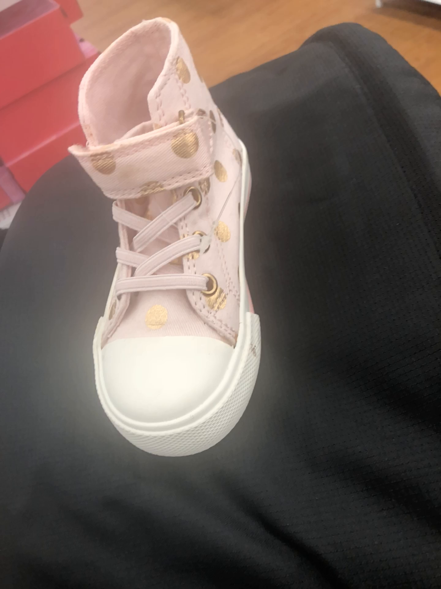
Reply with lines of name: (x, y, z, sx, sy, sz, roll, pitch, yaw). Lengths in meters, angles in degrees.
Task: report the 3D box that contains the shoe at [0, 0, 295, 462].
shoe: (-0.022, -0.036, 0.204, 0.080, 0.100, 0.170, -4, 50, 18)
